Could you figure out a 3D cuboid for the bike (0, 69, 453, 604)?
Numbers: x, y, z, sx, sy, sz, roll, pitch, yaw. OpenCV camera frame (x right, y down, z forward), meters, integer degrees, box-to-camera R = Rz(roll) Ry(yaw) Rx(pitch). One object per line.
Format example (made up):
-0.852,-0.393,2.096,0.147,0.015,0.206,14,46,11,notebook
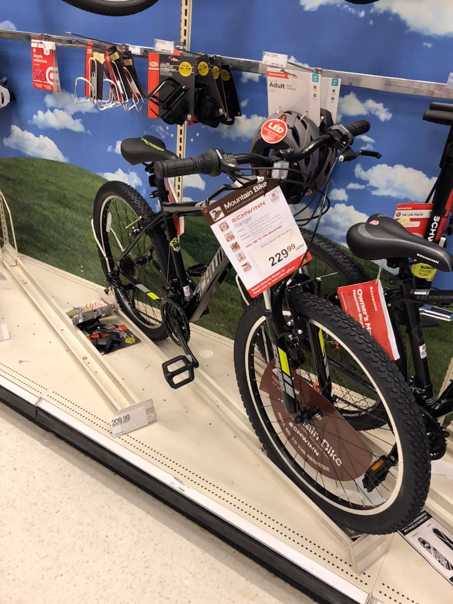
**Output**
-0.150,-0.016,1.499,0.599,1.002,1.658,-14,35,-33,bike
